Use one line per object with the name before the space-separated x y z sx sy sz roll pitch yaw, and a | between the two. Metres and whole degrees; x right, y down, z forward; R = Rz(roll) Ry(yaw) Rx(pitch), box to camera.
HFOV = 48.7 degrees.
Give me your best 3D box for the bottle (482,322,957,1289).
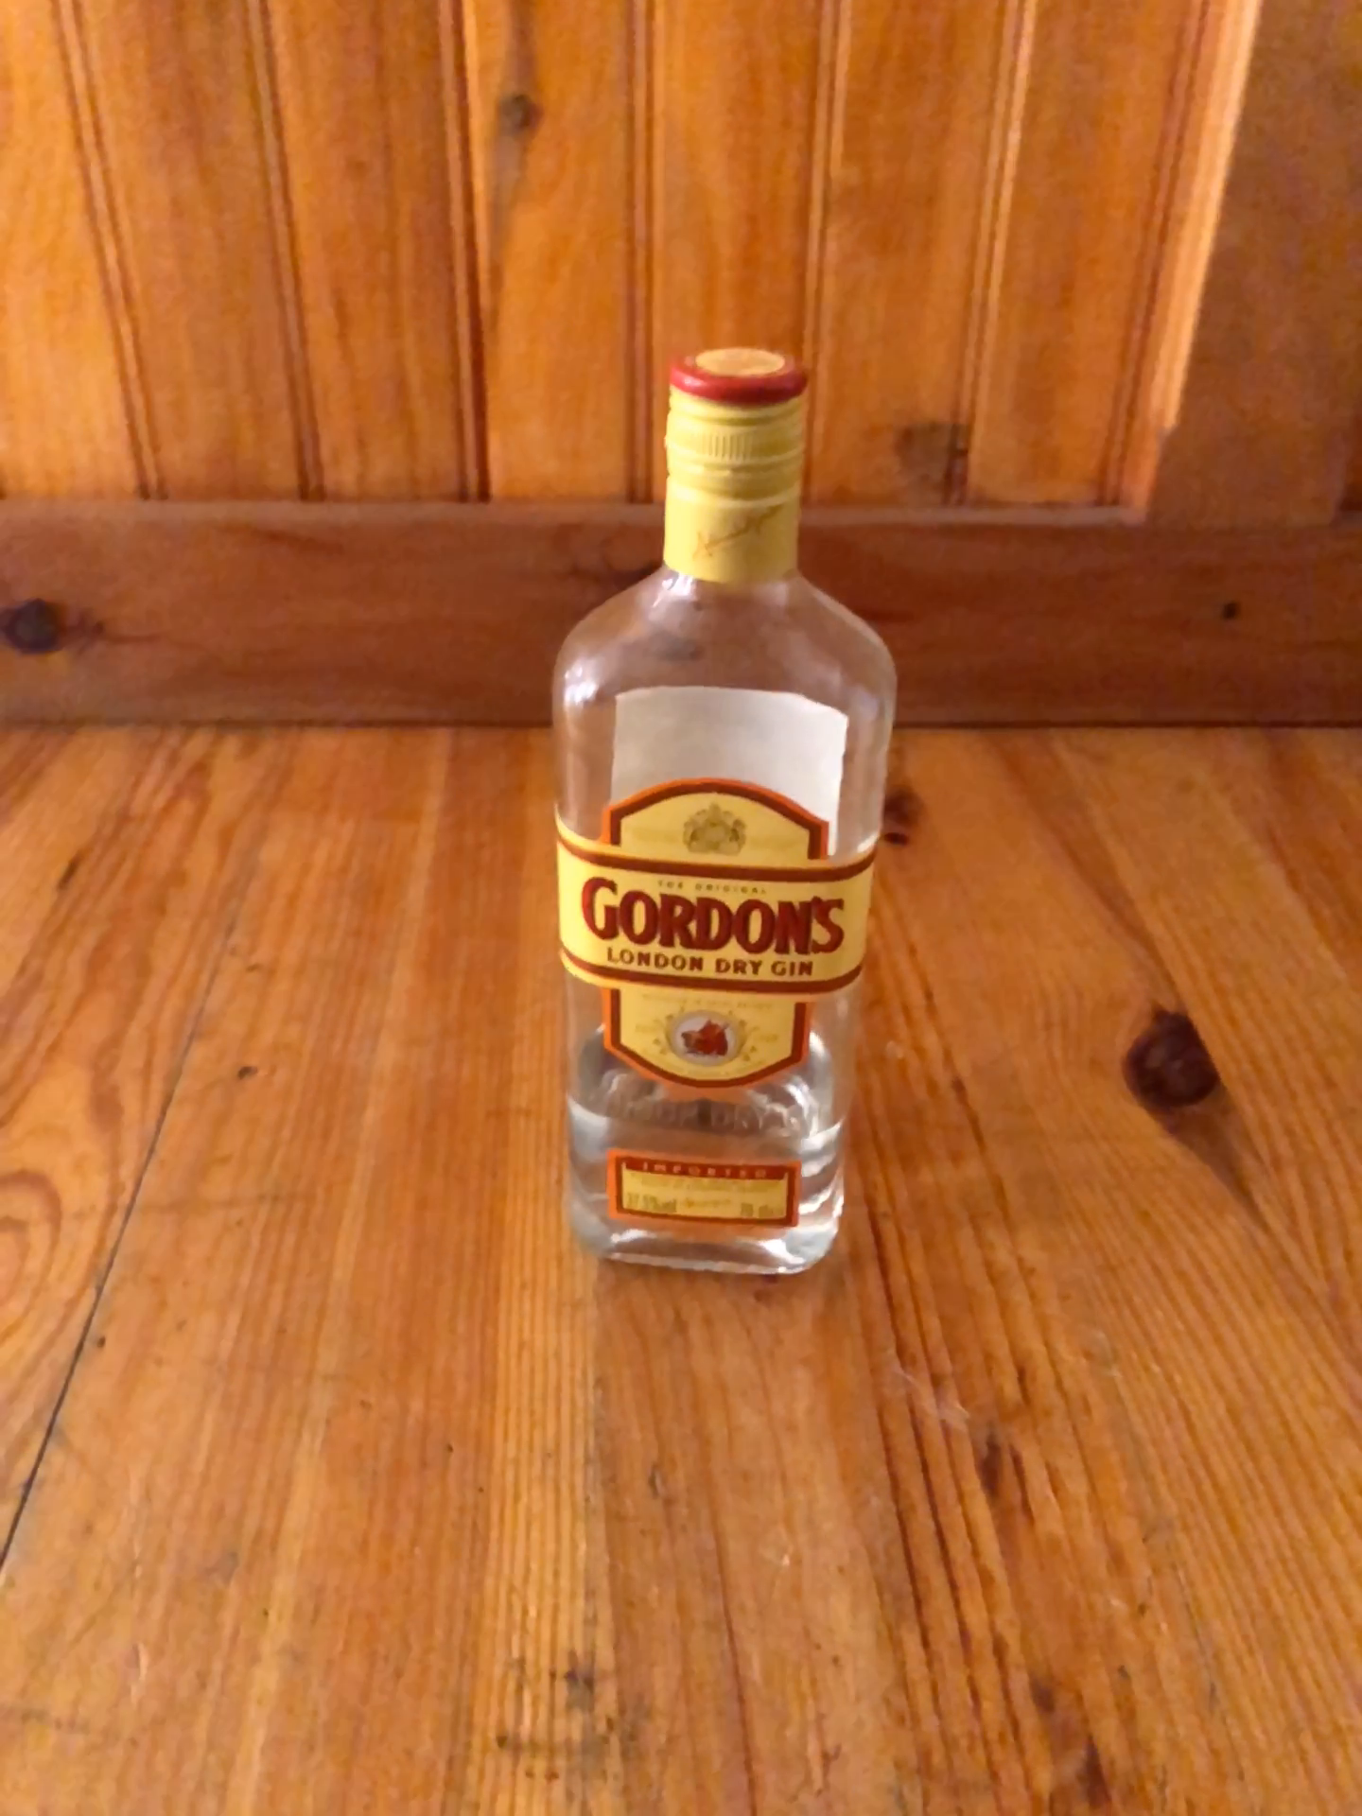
bottle | 0.008 -0.013 0.377 0.090 0.239 0.060 4 35 4
